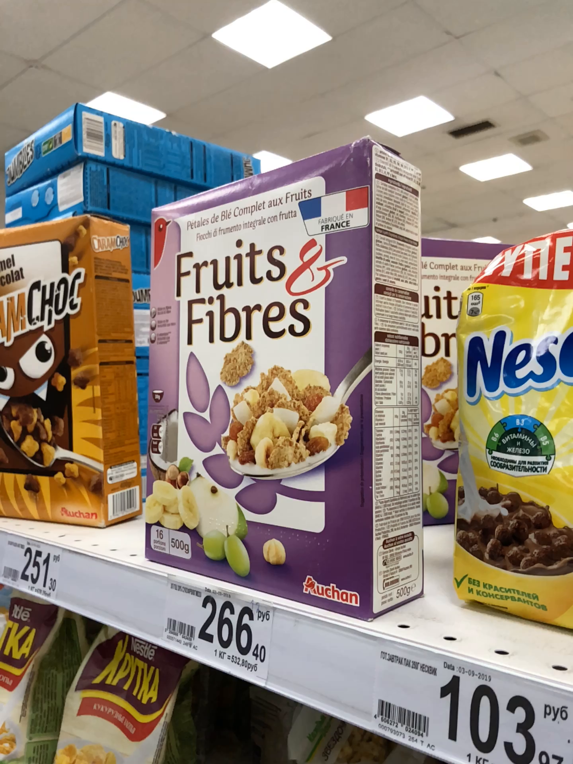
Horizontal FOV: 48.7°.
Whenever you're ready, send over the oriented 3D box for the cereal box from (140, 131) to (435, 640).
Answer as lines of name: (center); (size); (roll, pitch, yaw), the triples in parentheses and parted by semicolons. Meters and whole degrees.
cereal box: (-0.009, 0.002, 0.413); (0.200, 0.260, 0.060); (-2, -3, 42)
